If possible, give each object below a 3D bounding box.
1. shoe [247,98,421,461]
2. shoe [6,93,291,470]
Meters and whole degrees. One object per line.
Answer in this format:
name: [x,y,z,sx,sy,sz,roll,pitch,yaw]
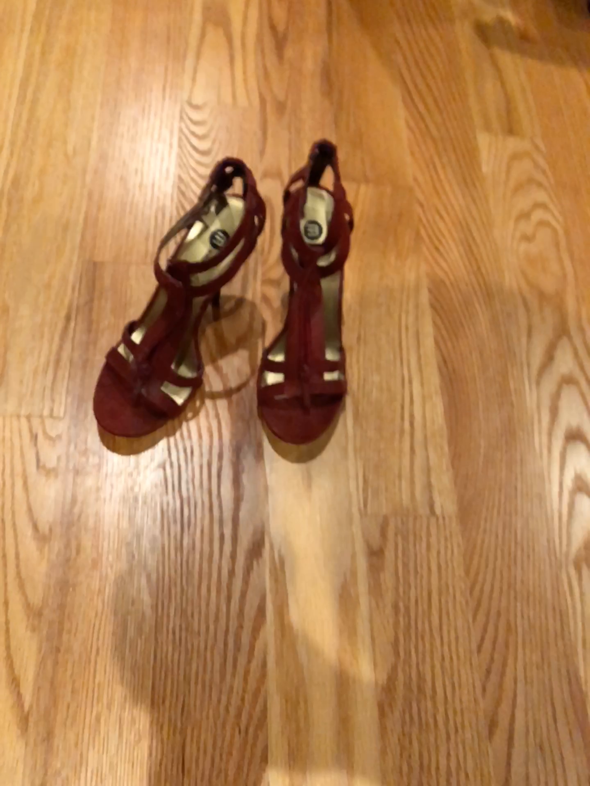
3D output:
shoe: [0.015,-0.074,0.498,0.085,0.175,0.207,1,65,-9]
shoe: [-0.094,-0.073,0.484,0.085,0.175,0.199,26,64,3]
